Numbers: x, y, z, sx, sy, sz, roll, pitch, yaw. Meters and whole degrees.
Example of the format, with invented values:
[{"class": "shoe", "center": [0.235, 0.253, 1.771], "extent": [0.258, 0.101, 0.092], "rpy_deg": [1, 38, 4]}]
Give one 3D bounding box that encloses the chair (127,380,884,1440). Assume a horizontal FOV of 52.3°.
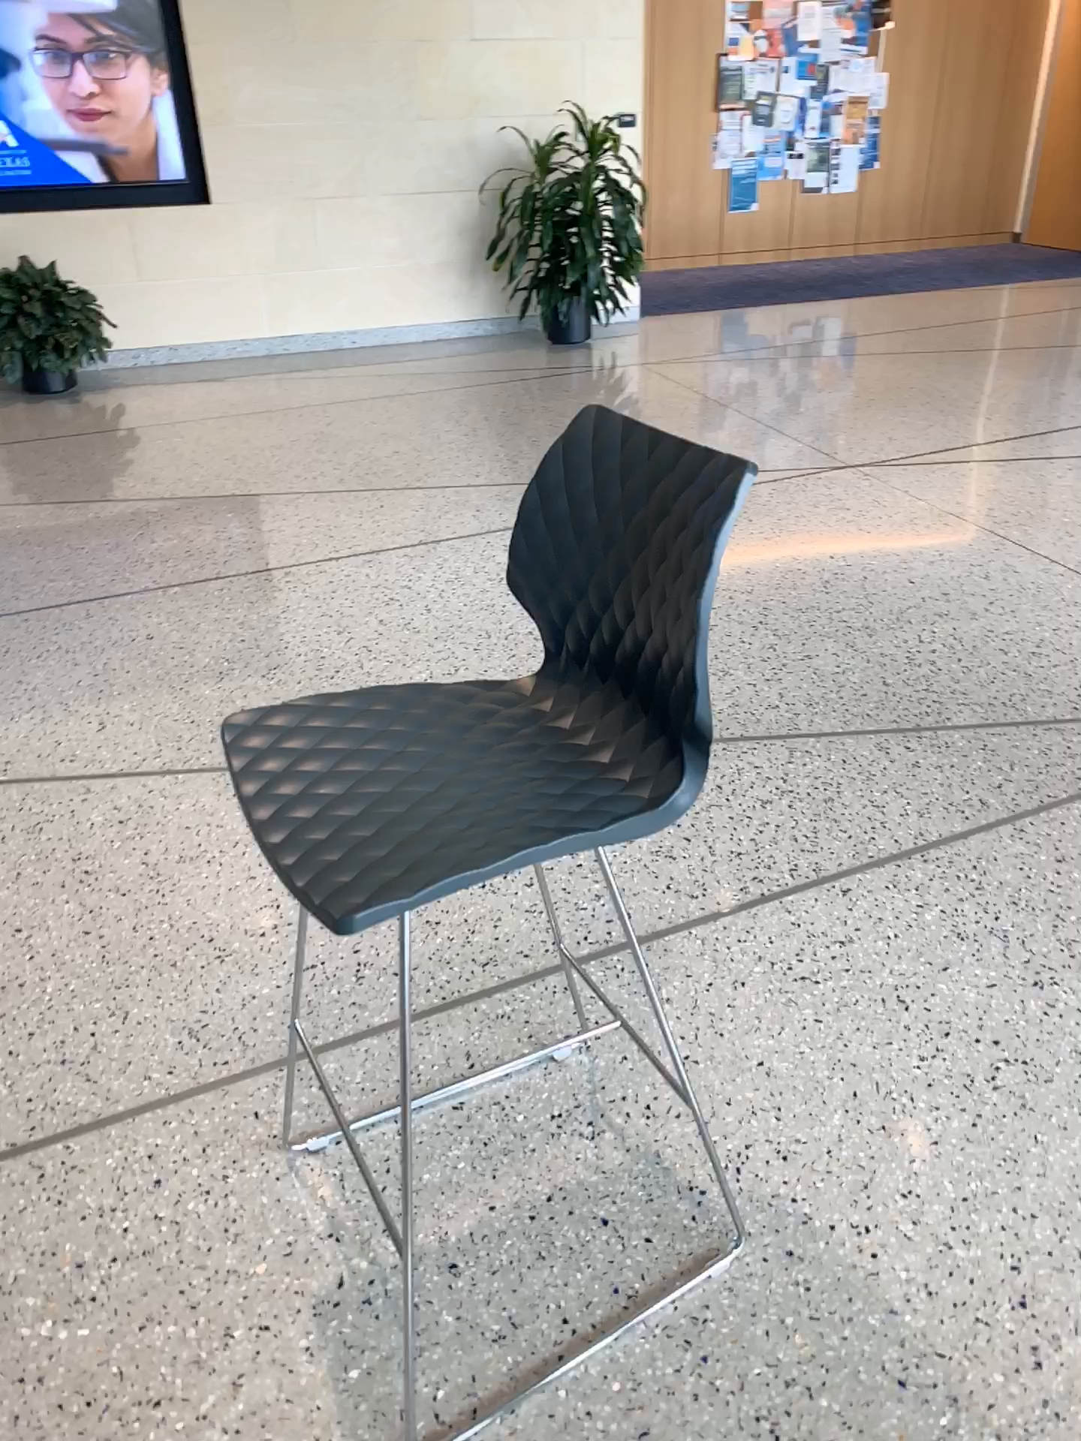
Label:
[{"class": "chair", "center": [-0.060, 0.221, 1.282], "extent": [0.547, 1.048, 0.535], "rpy_deg": [-14, 30, -21]}]
